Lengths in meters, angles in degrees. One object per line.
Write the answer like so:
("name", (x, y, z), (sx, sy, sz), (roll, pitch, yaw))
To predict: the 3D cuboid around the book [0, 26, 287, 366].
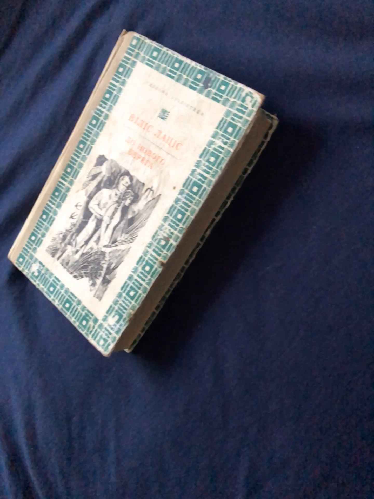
("book", (-0.044, -0.041, 0.307), (0.134, 0.040, 0.201), (37, 100, 27))
